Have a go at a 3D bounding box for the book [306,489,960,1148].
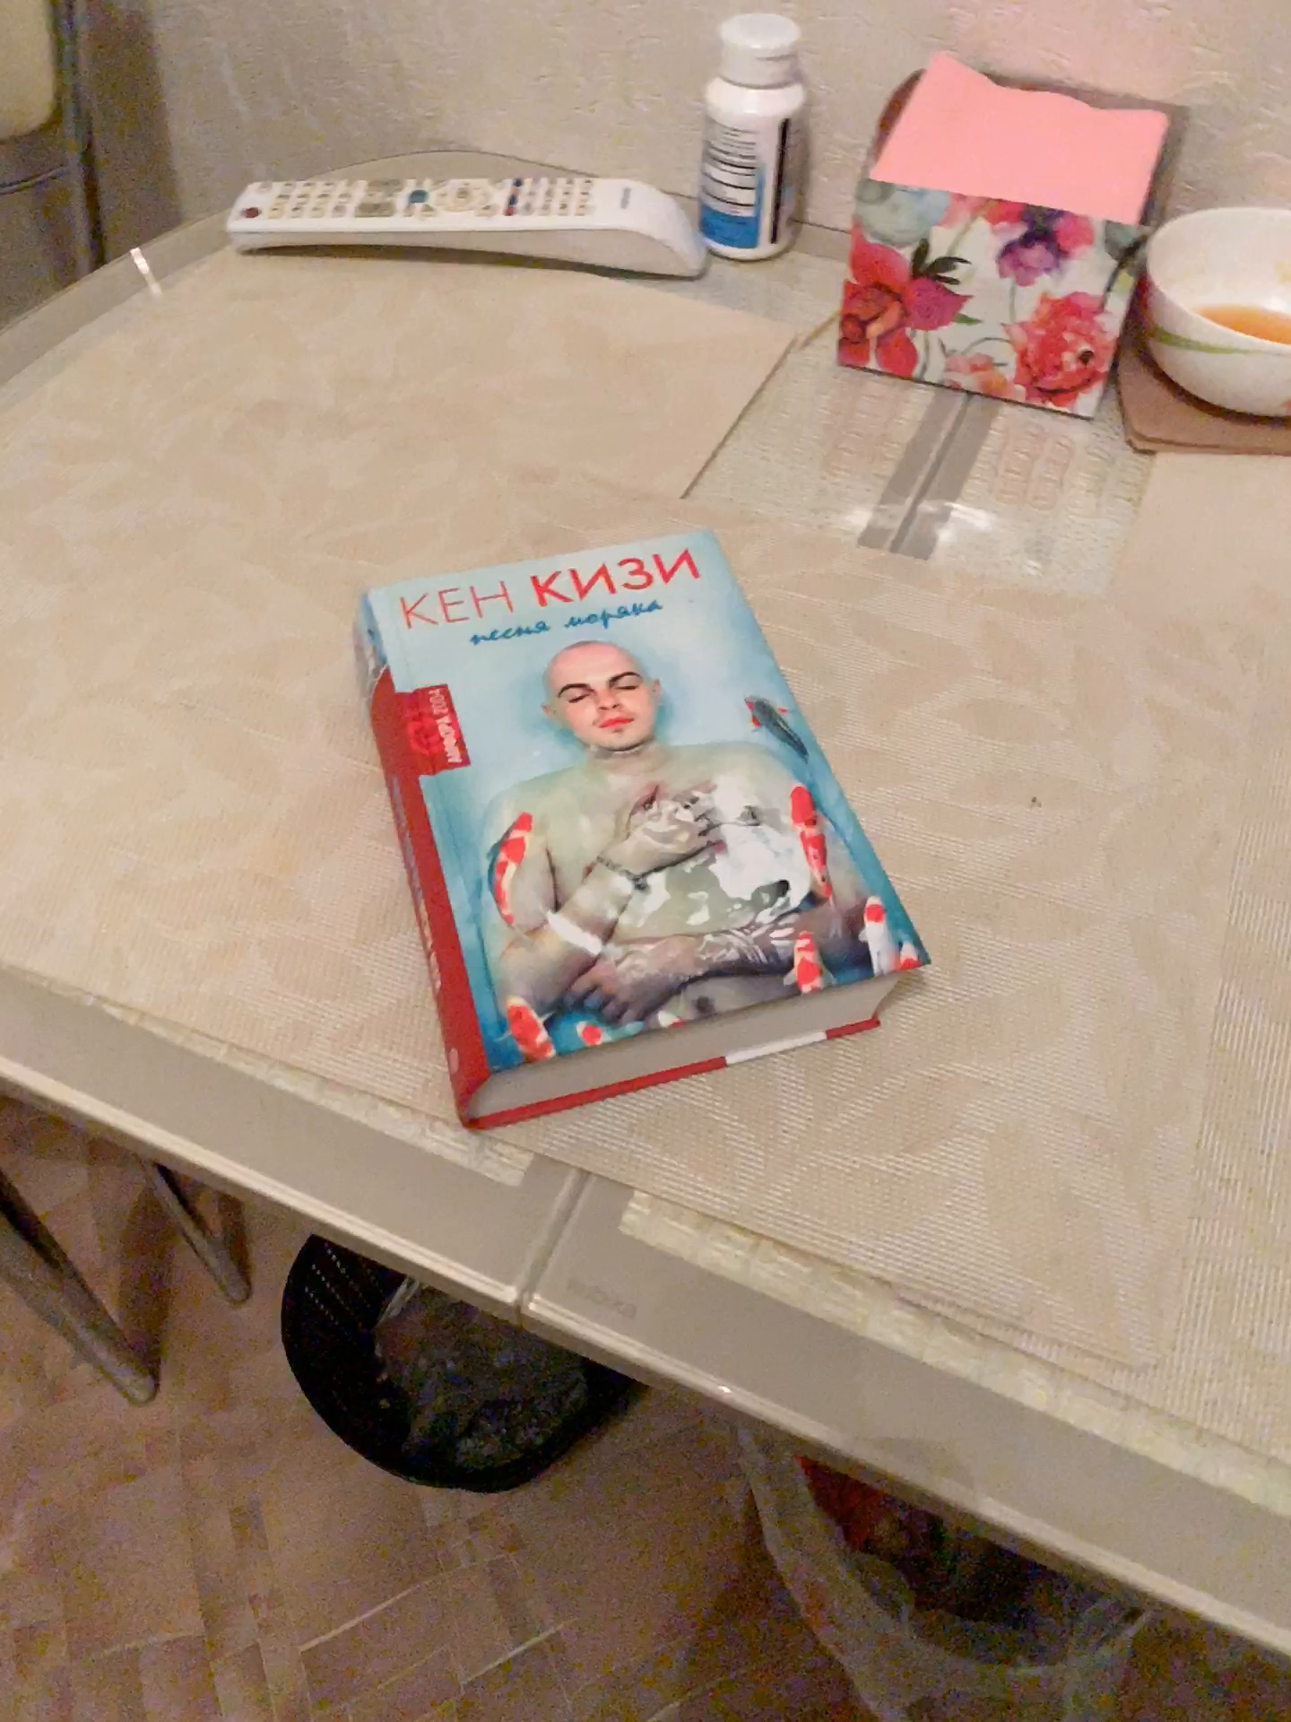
[{"bbox_3d":[-0.016,-0.029,0.423,0.150,0.040,0.211,-13,52,-11],"label":"book"}]
